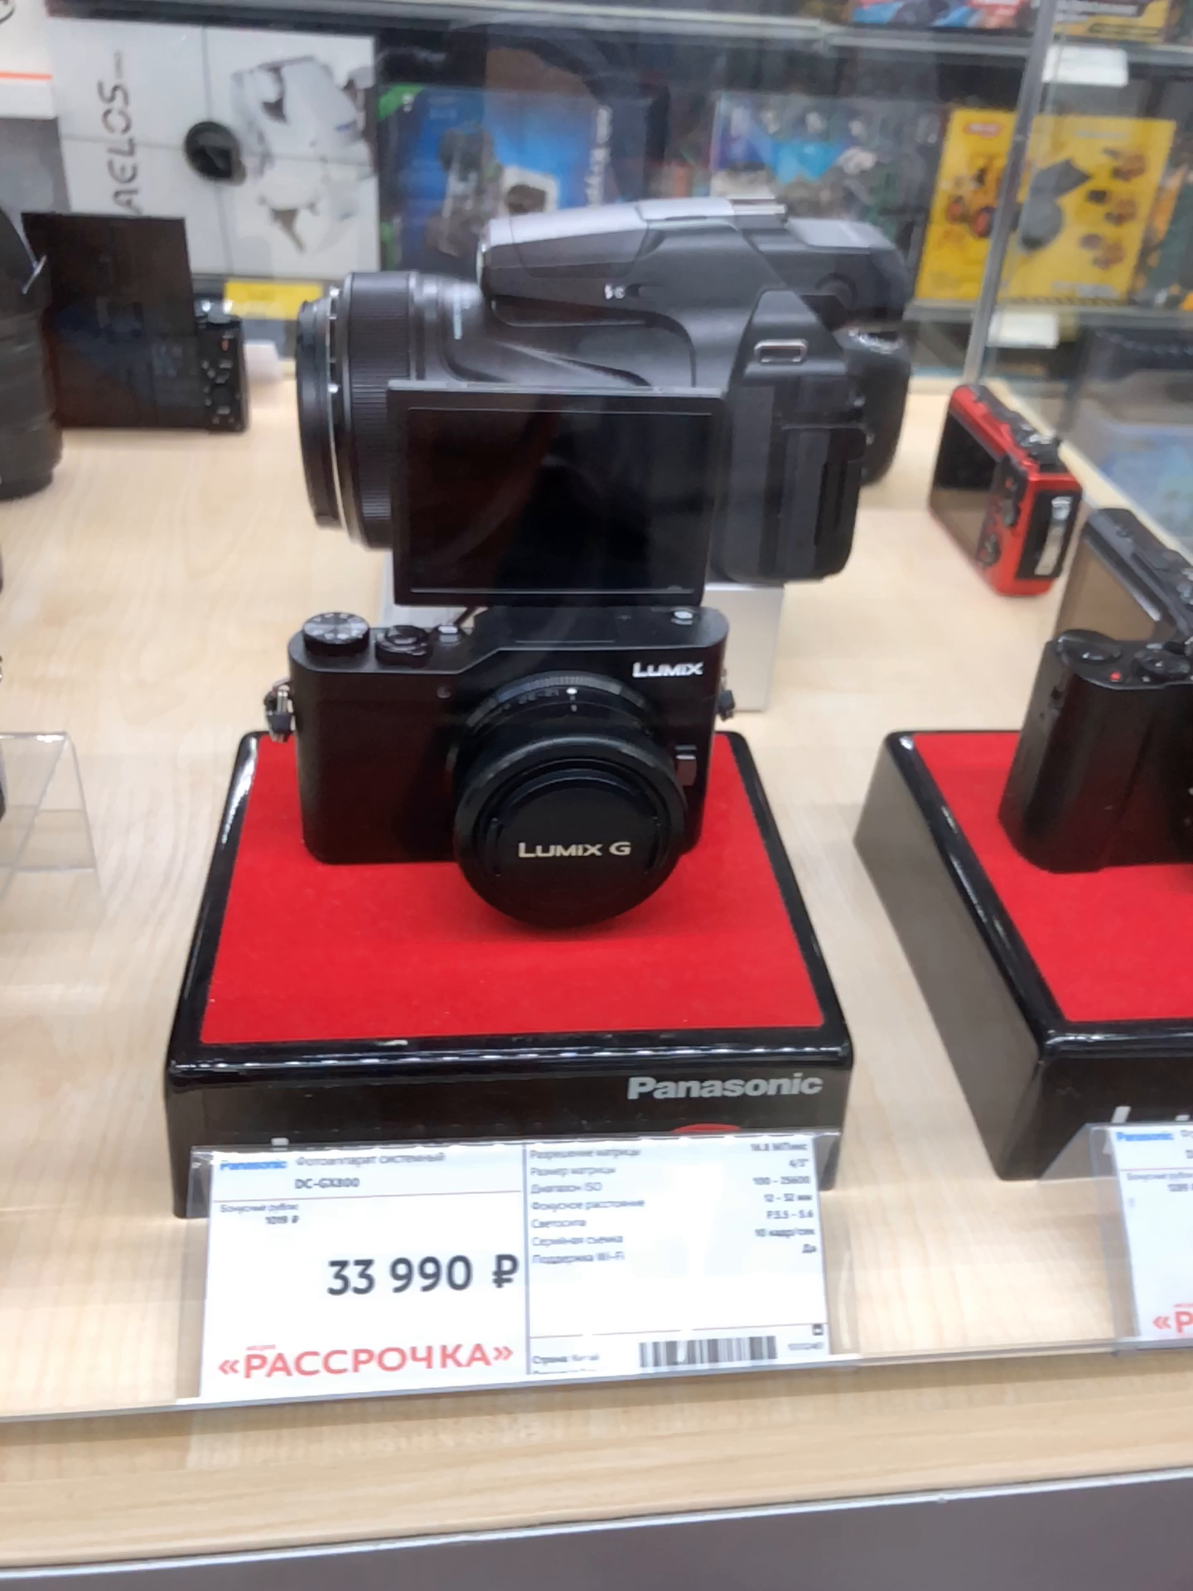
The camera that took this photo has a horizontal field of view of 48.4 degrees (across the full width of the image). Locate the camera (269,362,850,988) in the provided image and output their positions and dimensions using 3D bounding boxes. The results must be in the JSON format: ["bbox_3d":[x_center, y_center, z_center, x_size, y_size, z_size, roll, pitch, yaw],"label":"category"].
[{"bbox_3d":[-0.014,-0.028,0.306,0.108,0.120,0.070,-2,34,-10],"label":"camera"}]

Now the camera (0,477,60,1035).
[{"bbox_3d":[-0.196,-0.013,0.299,0.108,0.080,0.103,0,34,-6],"label":"camera"}]
